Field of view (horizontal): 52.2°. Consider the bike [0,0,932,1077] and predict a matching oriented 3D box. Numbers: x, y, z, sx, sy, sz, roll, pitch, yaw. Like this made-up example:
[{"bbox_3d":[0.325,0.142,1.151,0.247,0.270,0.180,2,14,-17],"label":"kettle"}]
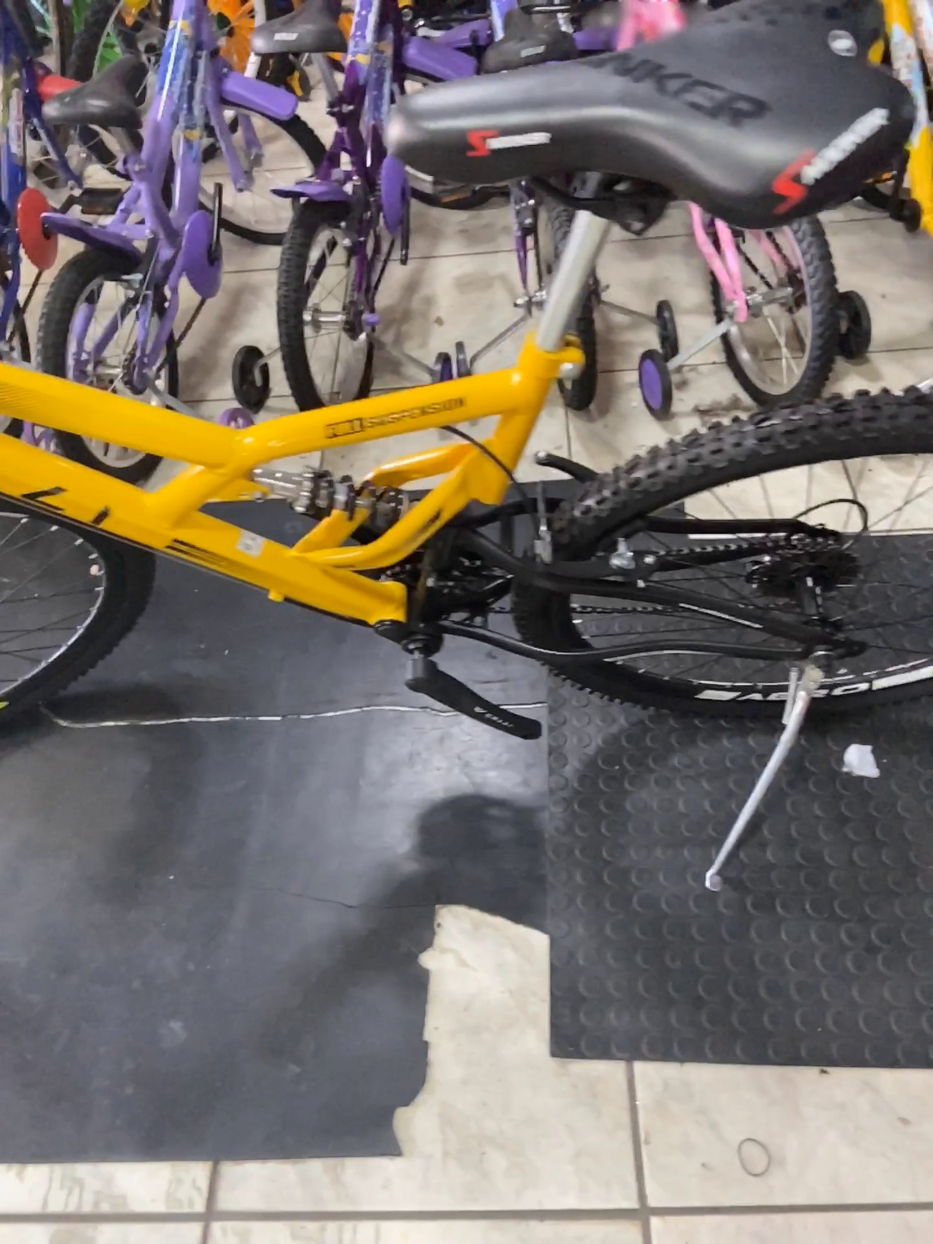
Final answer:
[{"bbox_3d":[-0.151,-0.110,0.748,1.520,0.987,0.477,-6,51,-1],"label":"bike"}]
